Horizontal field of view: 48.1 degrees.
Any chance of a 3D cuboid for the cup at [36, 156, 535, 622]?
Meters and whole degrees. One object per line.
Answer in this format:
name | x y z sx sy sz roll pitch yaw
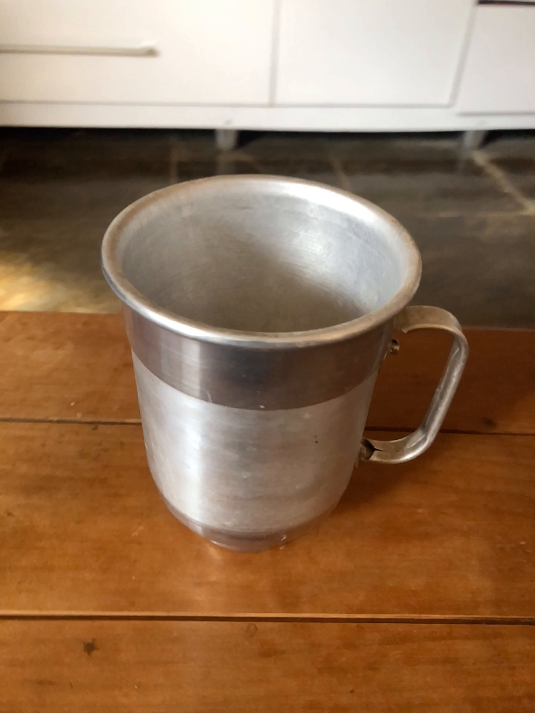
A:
cup | 0.005 0.014 0.217 0.120 0.129 0.101 3 41 -1
